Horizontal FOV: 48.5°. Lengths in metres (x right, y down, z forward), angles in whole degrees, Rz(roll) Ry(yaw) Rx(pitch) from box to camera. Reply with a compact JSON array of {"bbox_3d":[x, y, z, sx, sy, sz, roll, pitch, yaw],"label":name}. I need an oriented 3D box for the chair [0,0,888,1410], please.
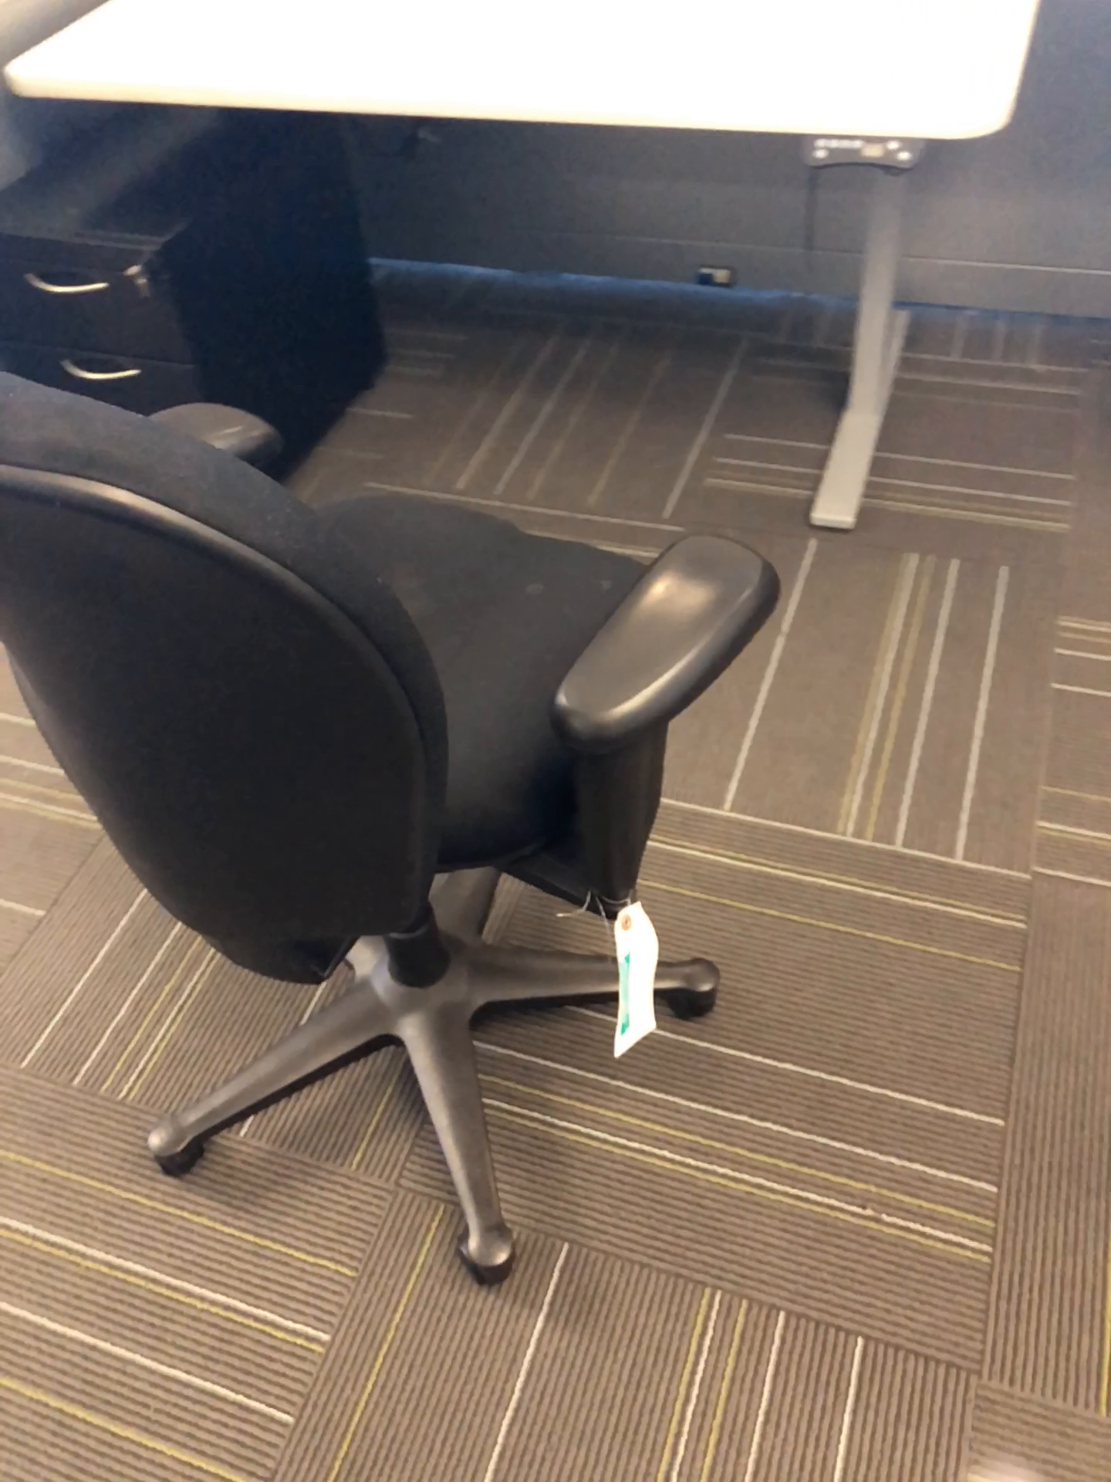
[{"bbox_3d":[-0.235,-0.080,1.104,0.702,0.996,0.681,26,54,28],"label":"chair"}]
